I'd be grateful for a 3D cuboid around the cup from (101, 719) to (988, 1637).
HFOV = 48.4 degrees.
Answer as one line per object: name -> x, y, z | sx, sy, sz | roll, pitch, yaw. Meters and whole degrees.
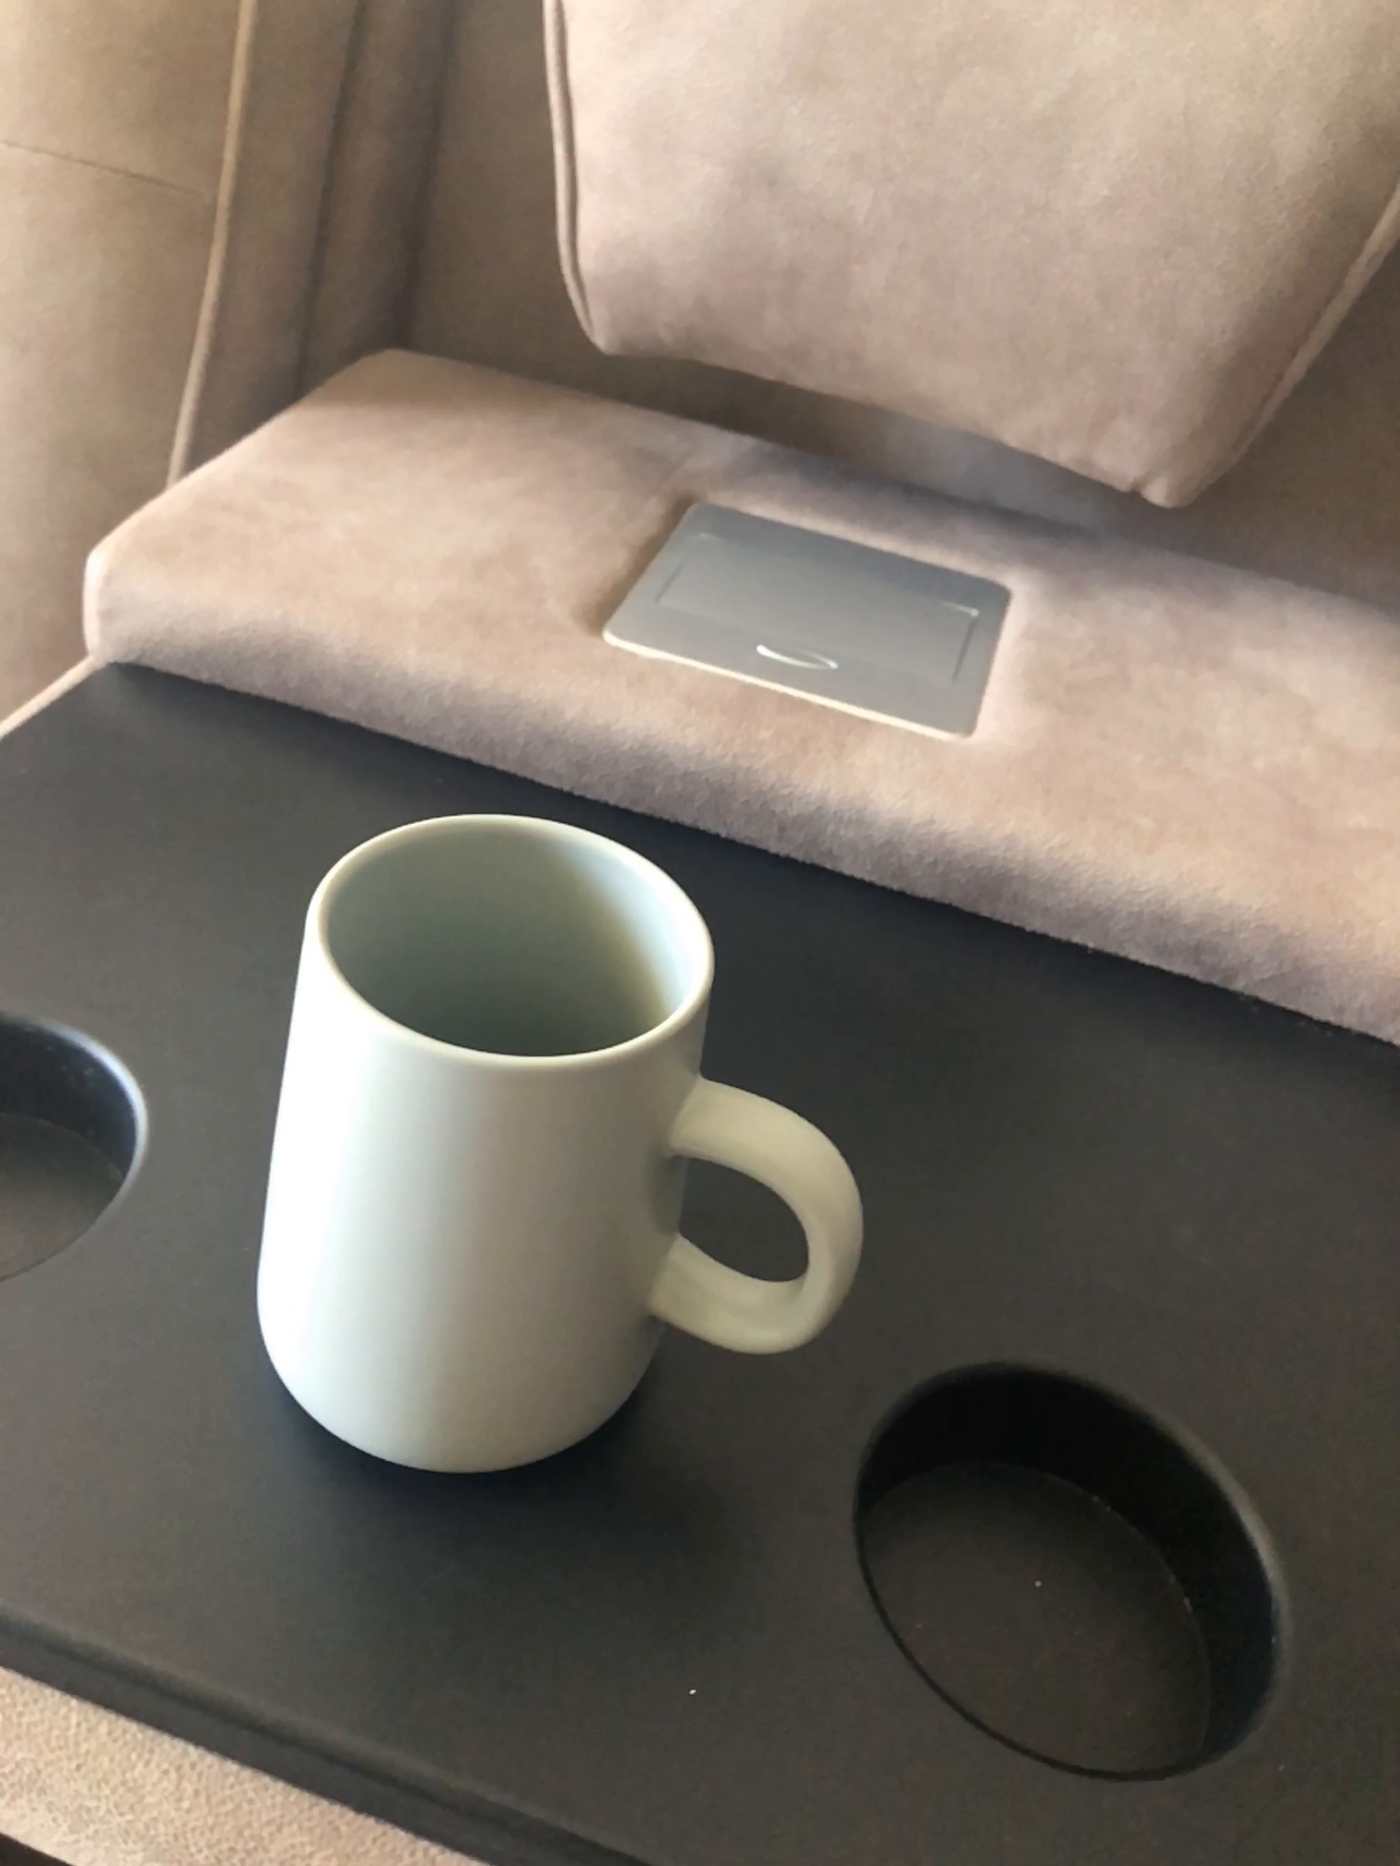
cup -> -0.031, 0.048, 0.319 | 0.136, 0.121, 0.087 | 20, 40, 10
